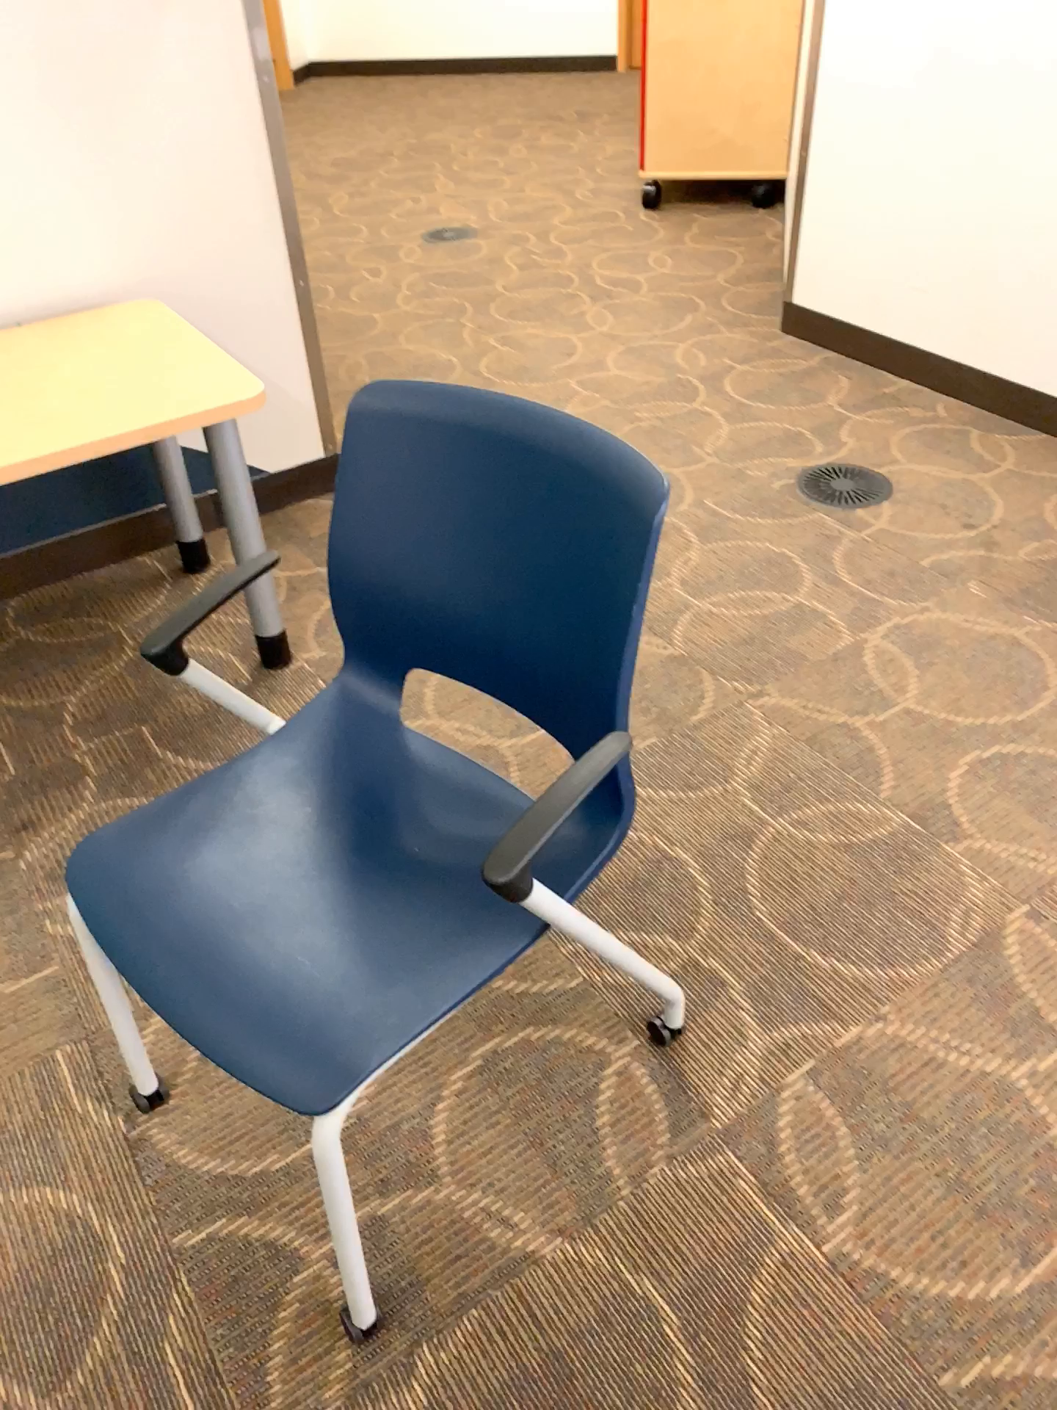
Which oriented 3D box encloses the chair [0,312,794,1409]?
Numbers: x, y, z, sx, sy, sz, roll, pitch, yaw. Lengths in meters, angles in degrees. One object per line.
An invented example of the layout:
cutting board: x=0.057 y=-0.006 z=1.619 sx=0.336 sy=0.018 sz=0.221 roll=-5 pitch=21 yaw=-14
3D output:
chair: x=-0.212 y=0.110 z=1.054 sx=0.622 sy=0.687 sz=0.611 roll=29 pitch=49 yaw=33
